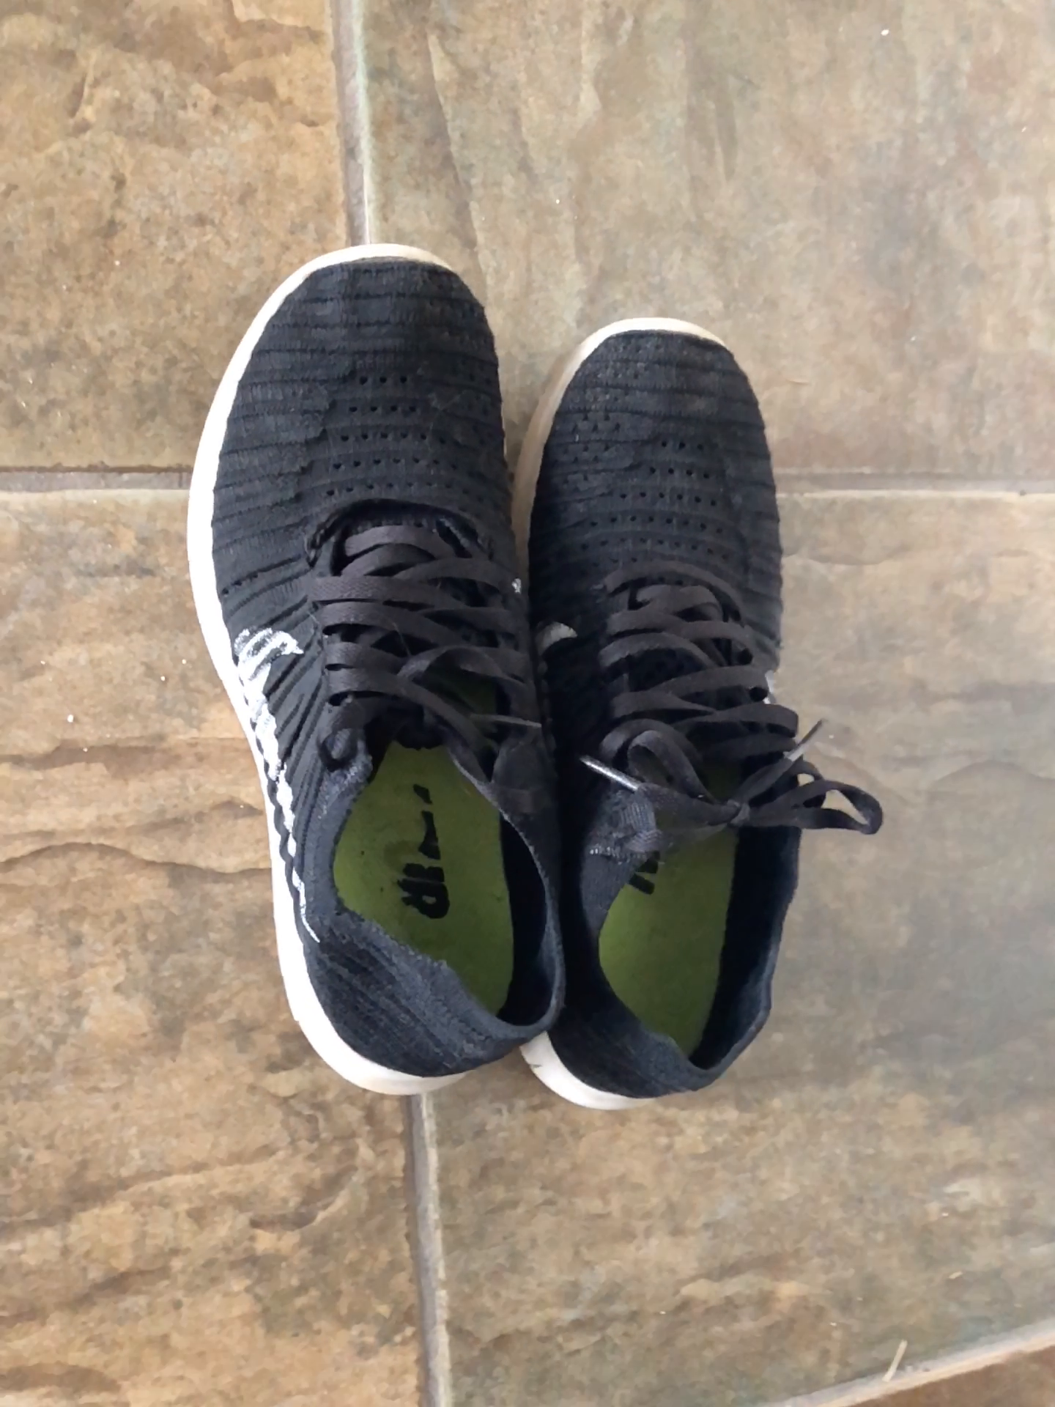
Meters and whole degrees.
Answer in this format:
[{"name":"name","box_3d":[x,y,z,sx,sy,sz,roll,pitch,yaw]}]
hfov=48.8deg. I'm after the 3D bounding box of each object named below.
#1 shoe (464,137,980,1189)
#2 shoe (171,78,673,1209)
[{"name":"shoe","box_3d":[0.053,-0.008,0.350,0.110,0.100,0.260,4,87,-17]},{"name":"shoe","box_3d":[-0.037,-0.016,0.331,0.110,0.100,0.260,-3,89,-18]}]
